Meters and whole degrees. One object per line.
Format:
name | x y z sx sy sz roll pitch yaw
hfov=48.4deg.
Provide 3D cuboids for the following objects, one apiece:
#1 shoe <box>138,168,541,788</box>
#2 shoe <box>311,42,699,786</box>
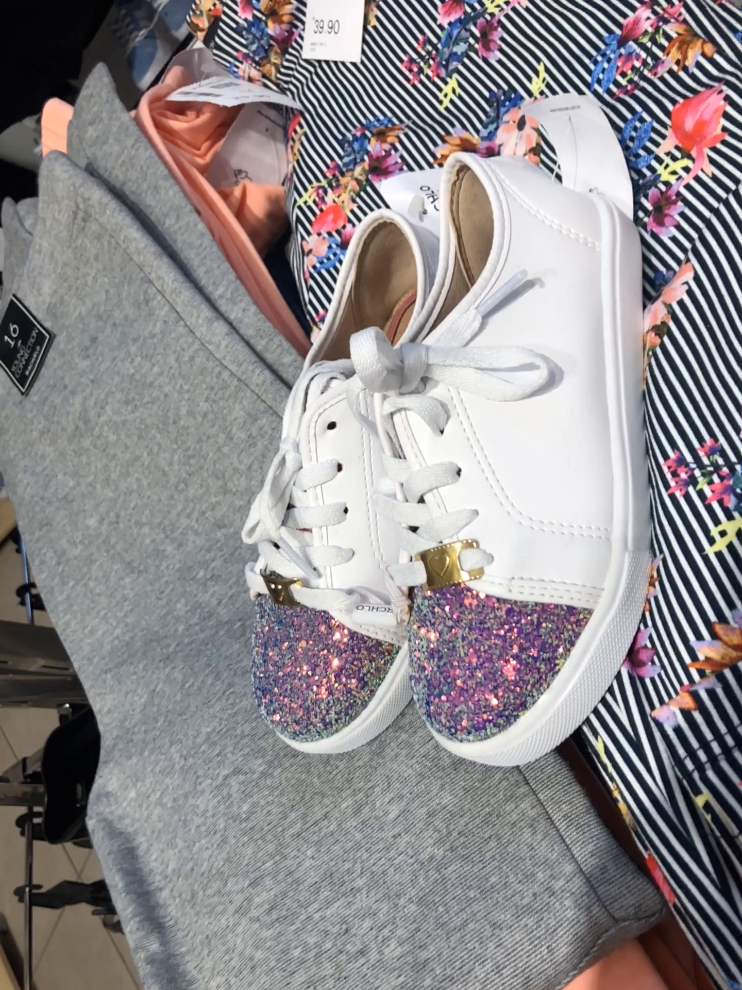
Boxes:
shoe | -0.009 -0.005 0.297 0.080 0.070 0.190 6 81 41
shoe | 0.046 -0.019 0.263 0.080 0.070 0.200 -6 72 47
